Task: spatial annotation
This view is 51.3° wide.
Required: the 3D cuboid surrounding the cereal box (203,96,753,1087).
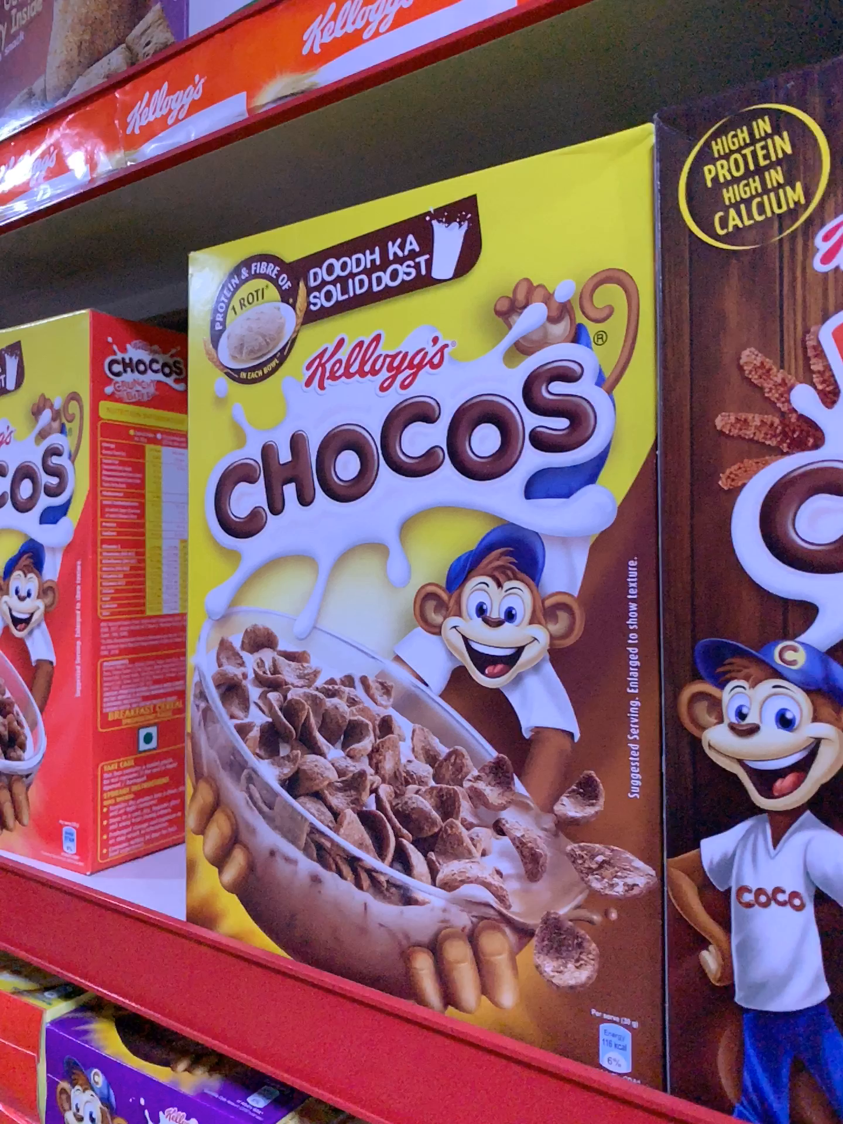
[{"bbox_3d":[0.010,0.006,0.287,0.170,0.240,0.060,-1,-1,35],"label":"cereal box"}]
